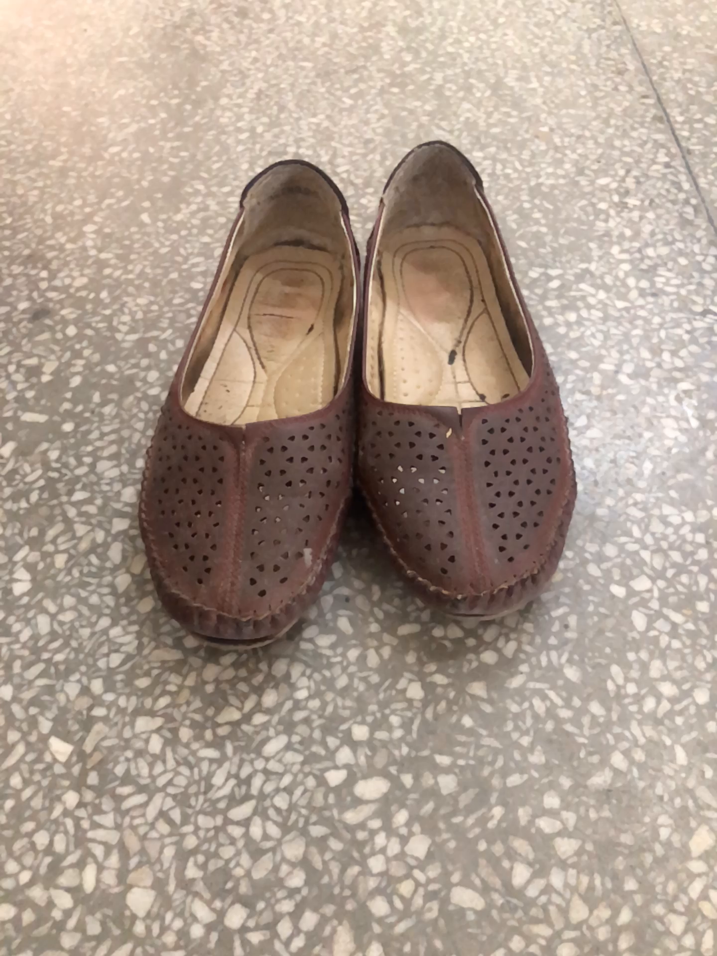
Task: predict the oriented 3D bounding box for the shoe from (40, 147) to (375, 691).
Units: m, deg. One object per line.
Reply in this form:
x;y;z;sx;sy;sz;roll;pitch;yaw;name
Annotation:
-0.043;-0.040;0.342;0.087;0.080;0.236;2;52;4;shoe

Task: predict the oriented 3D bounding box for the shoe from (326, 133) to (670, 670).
0.040;-0.046;0.342;0.095;0.080;0.232;-4;52;-1;shoe
